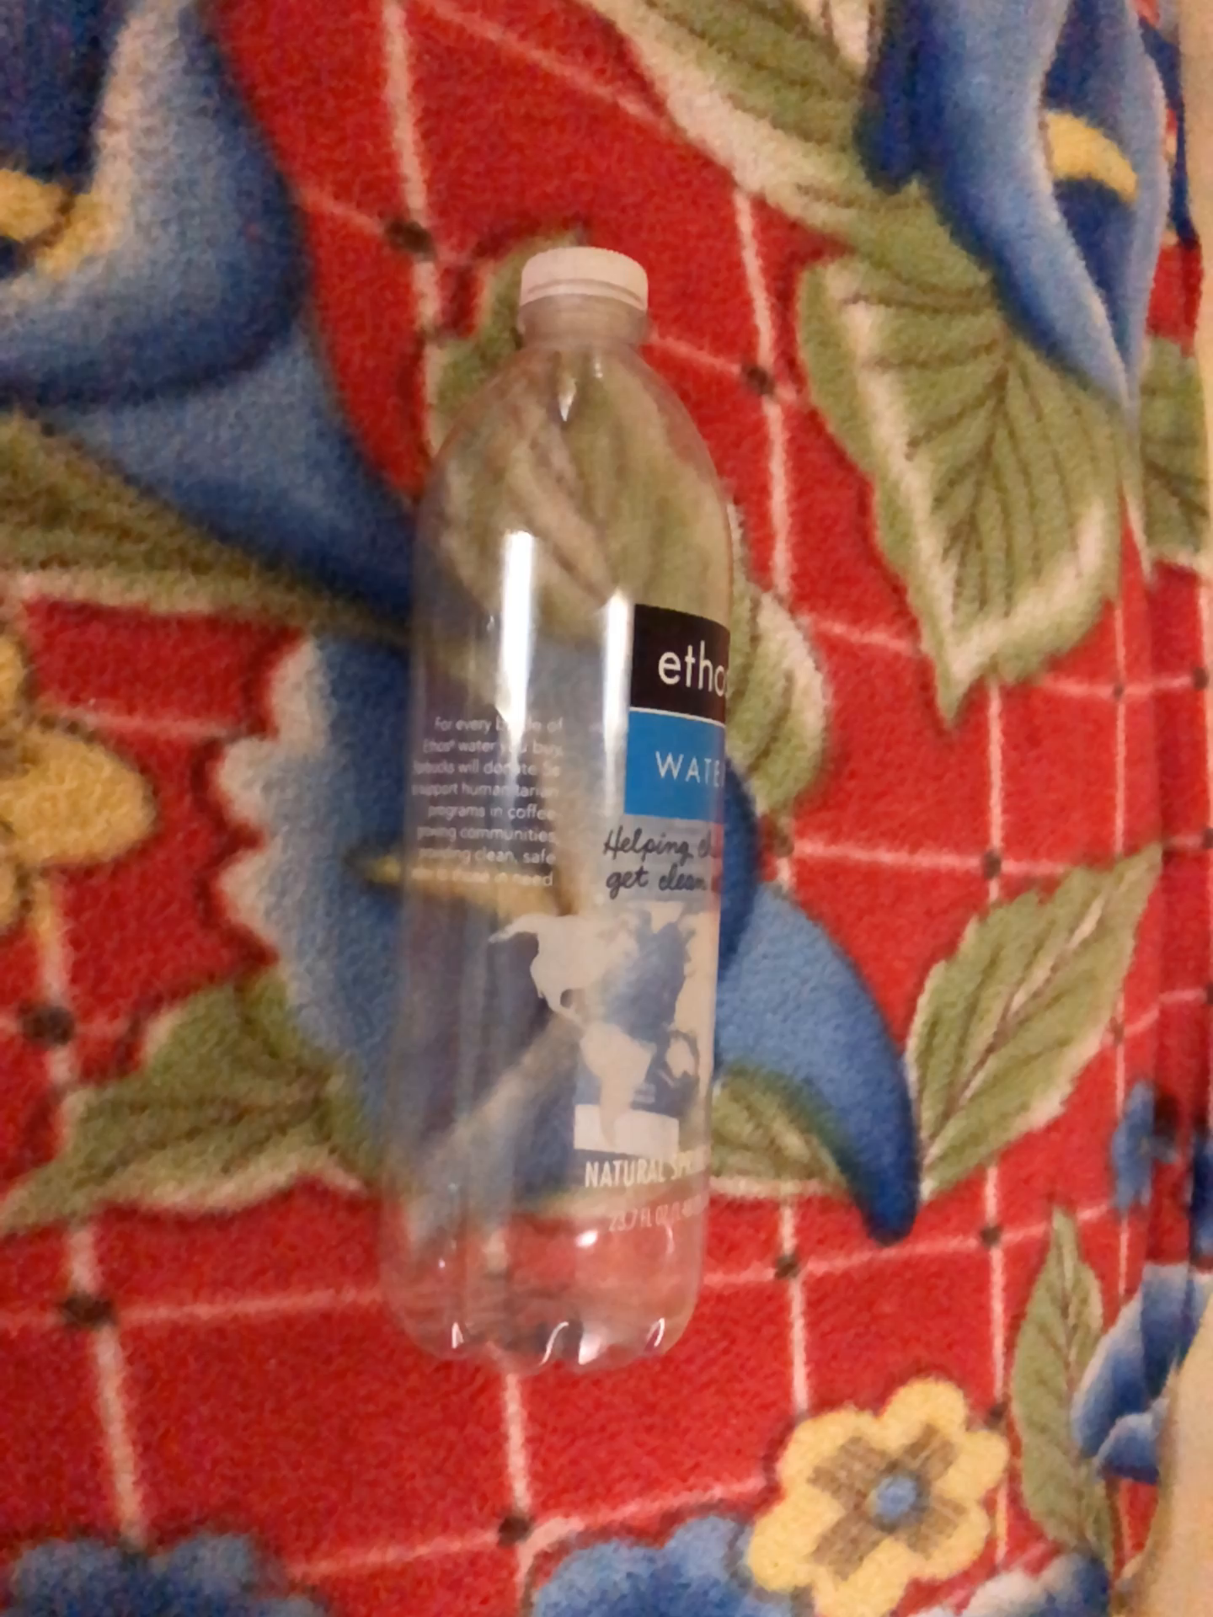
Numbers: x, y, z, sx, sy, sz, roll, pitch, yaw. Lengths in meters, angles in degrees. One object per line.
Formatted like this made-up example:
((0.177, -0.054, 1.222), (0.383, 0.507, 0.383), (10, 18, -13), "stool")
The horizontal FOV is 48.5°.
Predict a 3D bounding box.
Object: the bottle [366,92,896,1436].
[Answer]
((0.007, -0.008, 0.288), (0.070, 0.070, 0.240), (4, 90, -56), "bottle")
